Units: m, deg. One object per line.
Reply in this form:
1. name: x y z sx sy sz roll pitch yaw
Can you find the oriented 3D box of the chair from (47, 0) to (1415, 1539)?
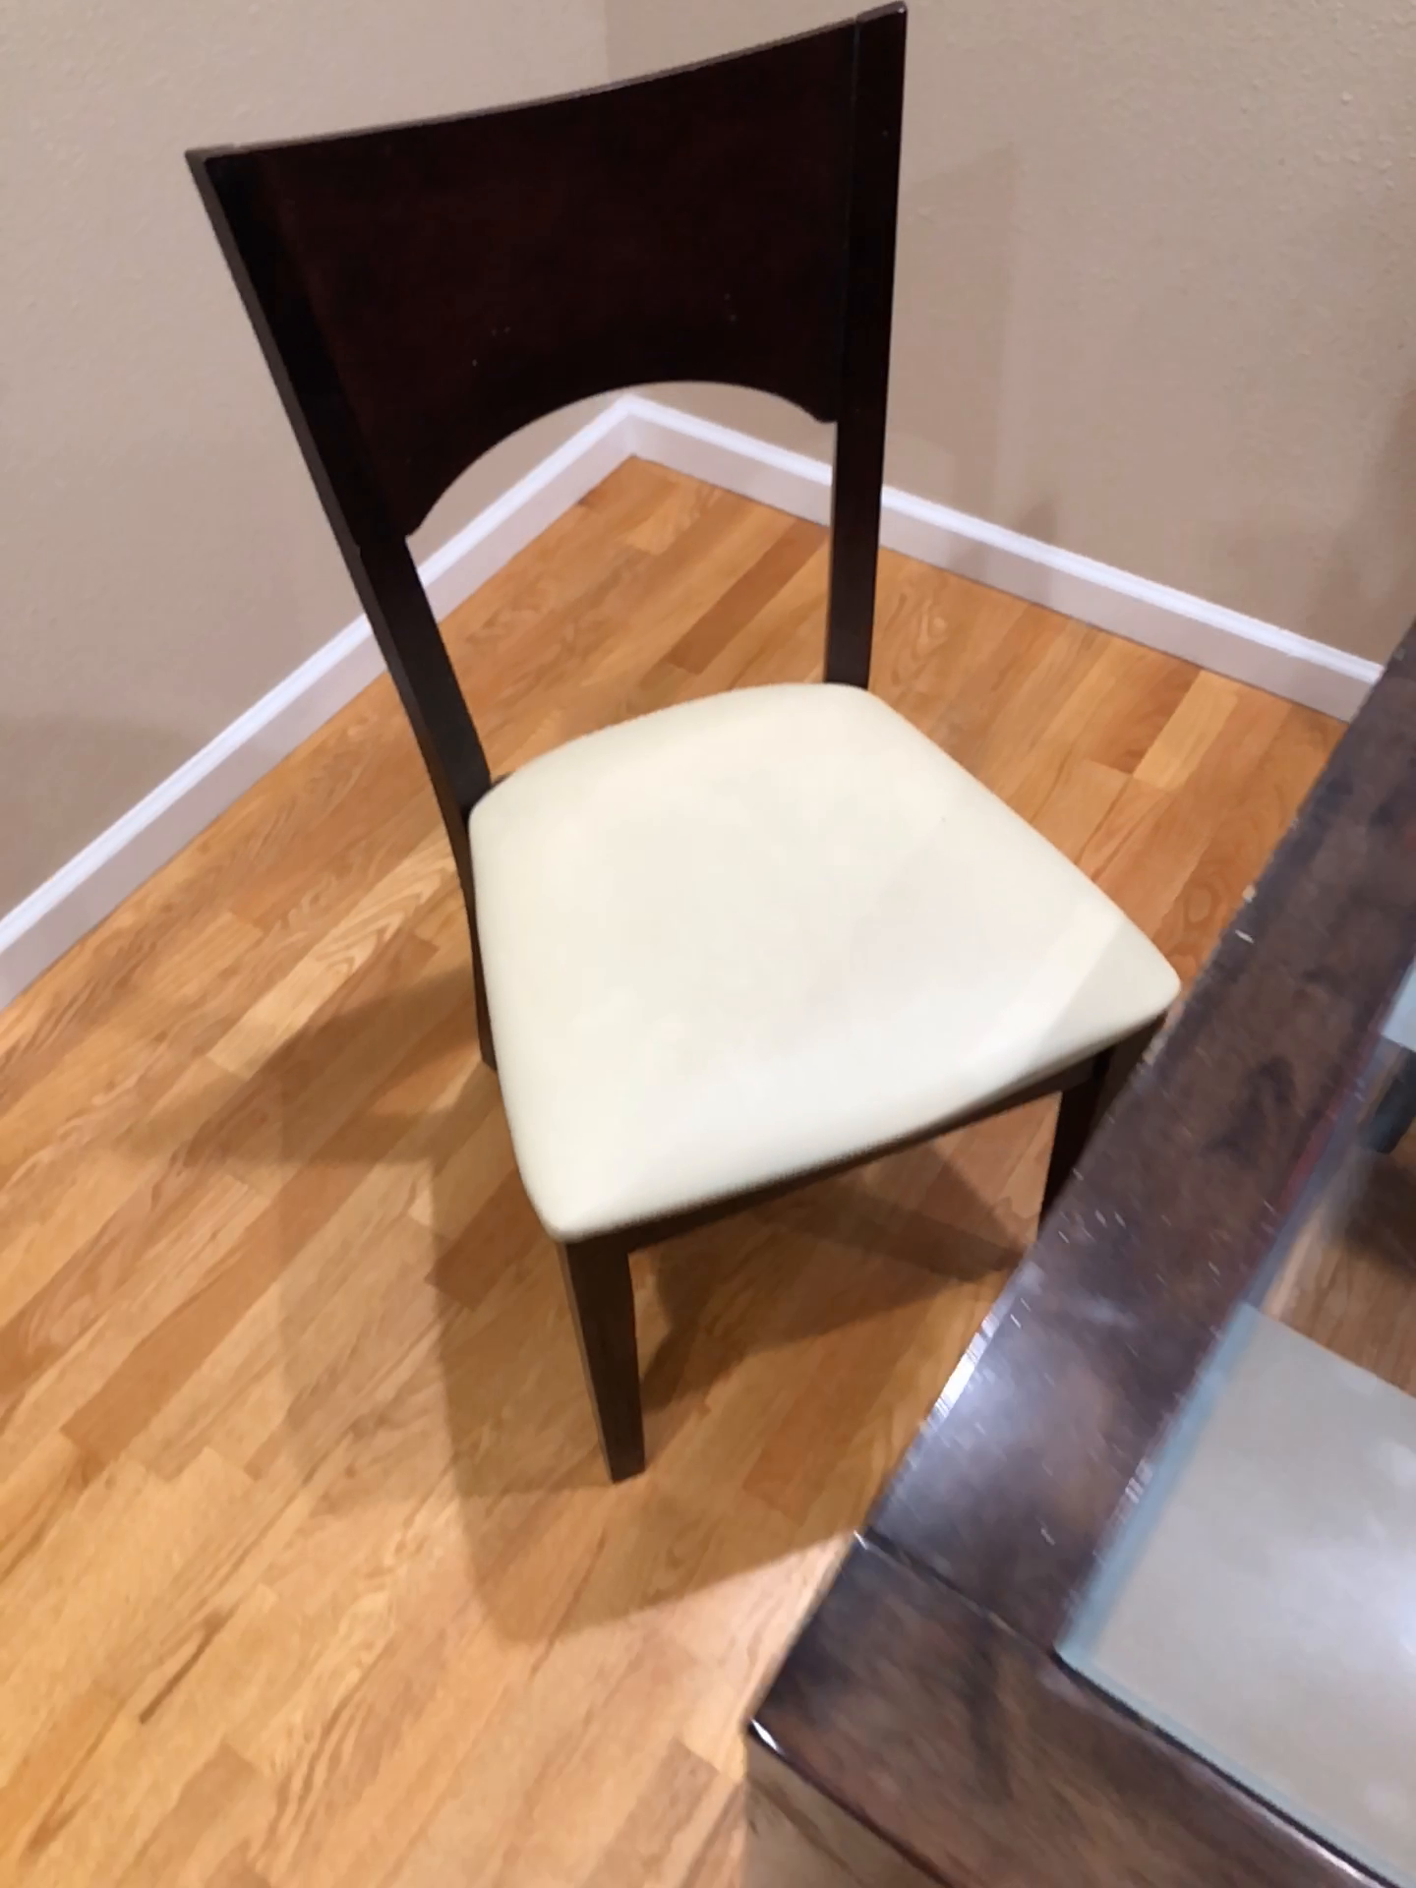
1. chair: -0.016 -0.073 1.100 0.520 0.906 0.532 -17 53 -12
